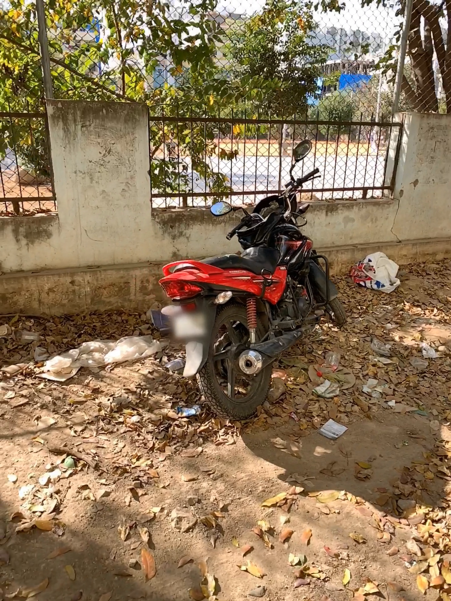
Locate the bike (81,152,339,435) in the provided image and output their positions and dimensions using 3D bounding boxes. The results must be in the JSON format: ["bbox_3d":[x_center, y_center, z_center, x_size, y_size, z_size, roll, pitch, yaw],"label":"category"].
[{"bbox_3d":[0.005,-0.195,2.616,0.823,1.068,1.294,11,25,26],"label":"bike"}]
